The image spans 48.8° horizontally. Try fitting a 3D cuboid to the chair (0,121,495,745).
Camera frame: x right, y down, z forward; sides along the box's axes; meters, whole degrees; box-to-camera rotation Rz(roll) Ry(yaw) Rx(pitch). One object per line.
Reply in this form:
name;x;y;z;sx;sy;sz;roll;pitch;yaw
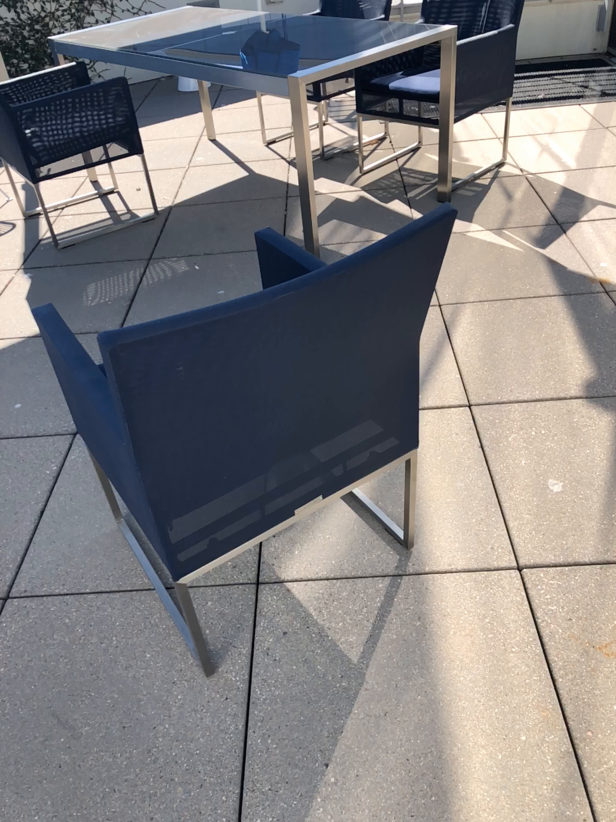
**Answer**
chair;-0.156;-0.017;1.301;0.650;0.776;0.673;-26;41;-24
